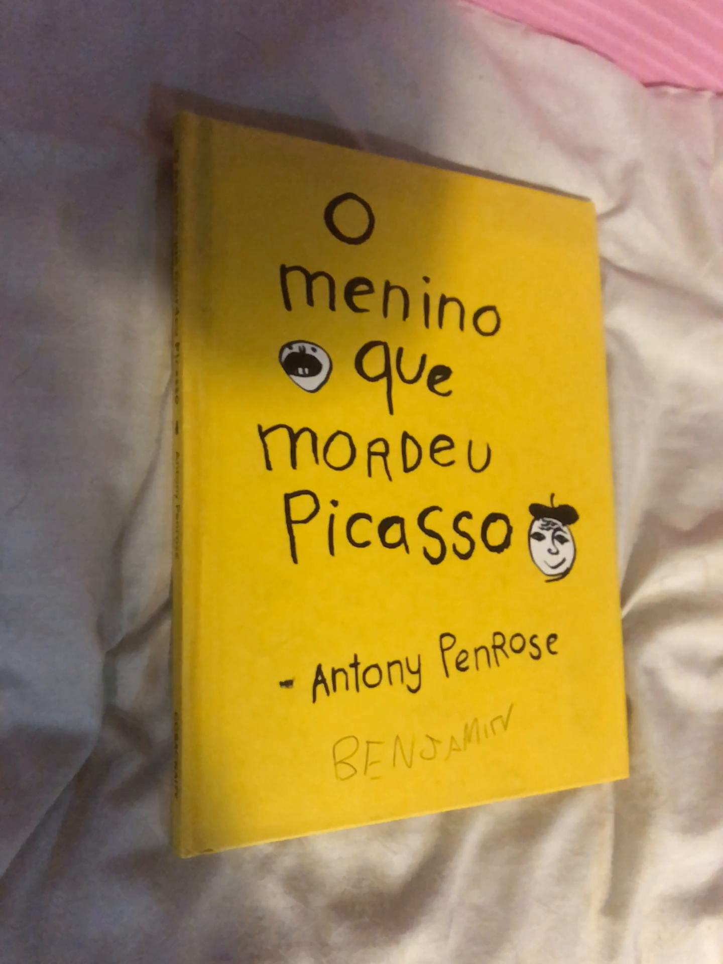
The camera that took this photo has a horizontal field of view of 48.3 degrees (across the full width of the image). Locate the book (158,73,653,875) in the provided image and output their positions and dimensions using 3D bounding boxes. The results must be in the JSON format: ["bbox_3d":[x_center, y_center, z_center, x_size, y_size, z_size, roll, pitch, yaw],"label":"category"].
[{"bbox_3d":[0.022,-0.005,0.289,0.181,0.024,0.240,2,83,-26],"label":"book"}]
